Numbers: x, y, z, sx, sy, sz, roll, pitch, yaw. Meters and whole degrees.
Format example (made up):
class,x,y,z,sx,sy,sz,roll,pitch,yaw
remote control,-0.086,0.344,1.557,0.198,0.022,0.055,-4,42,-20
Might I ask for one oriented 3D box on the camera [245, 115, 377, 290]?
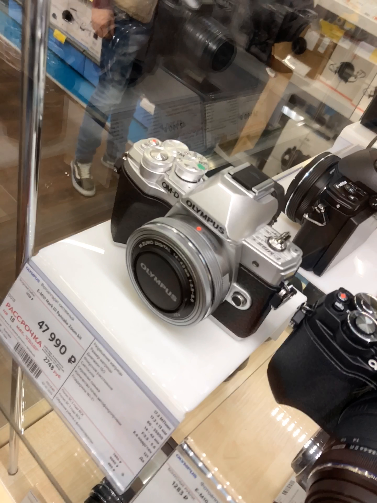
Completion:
class,x,y,z,sx,sy,sz,roll,pitch,yaw
camera,0.114,-0.042,0.307,0.078,0.068,0.109,43,45,21

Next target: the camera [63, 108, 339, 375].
class,x,y,z,sx,sy,sz,roll,pitch,yaw
camera,0.001,-0.013,0.232,0.122,0.067,0.073,41,45,20
